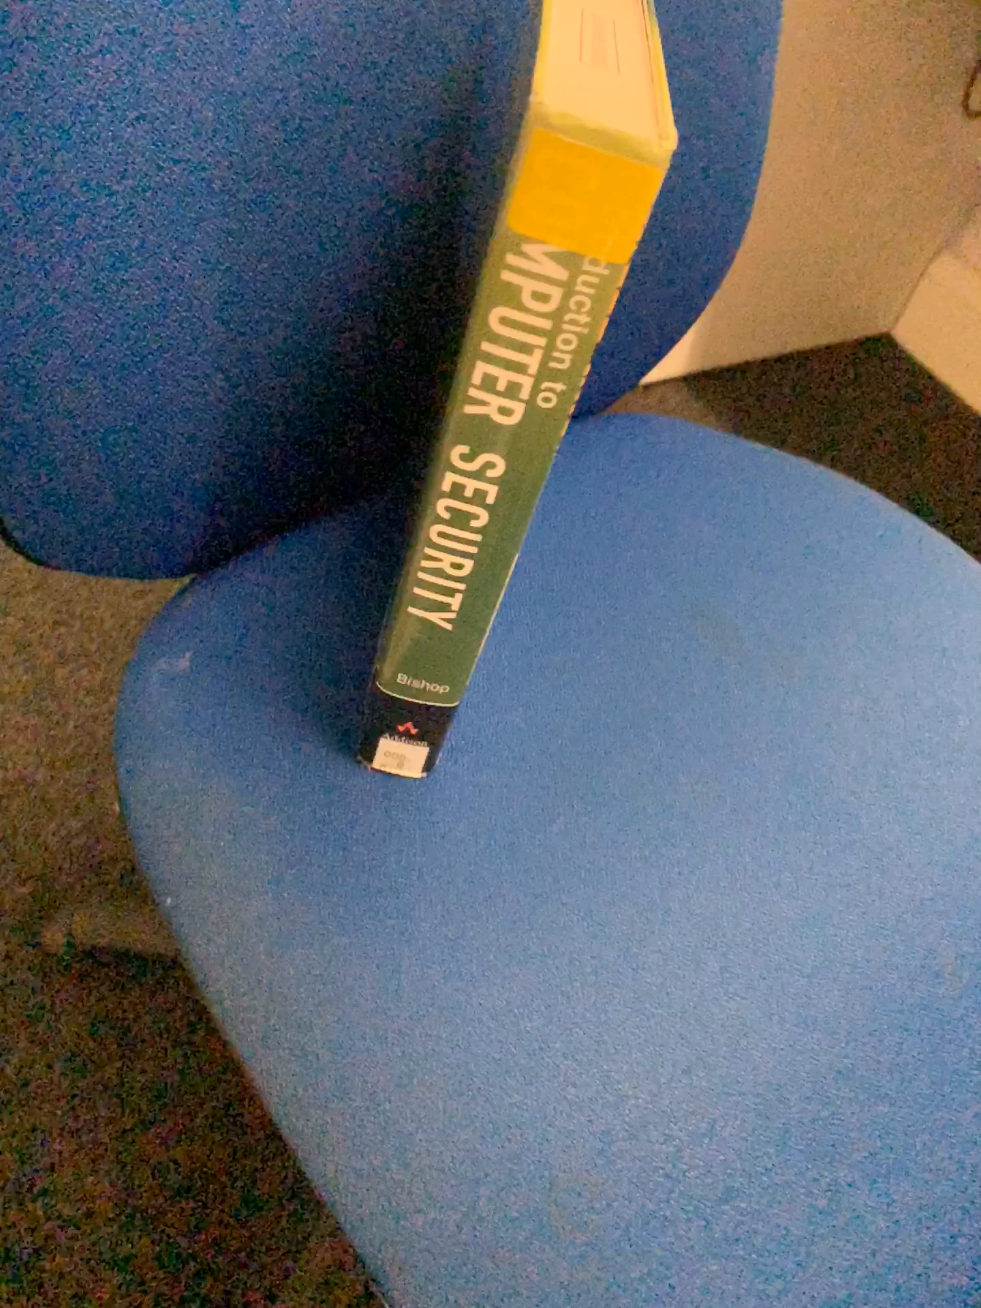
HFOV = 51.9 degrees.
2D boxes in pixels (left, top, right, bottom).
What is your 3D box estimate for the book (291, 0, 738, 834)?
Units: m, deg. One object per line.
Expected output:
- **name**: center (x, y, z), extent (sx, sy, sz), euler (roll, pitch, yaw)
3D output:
- **book**: center (-0.004, -0.099, 0.367), extent (0.050, 0.277, 0.212), euler (16, 48, -8)
